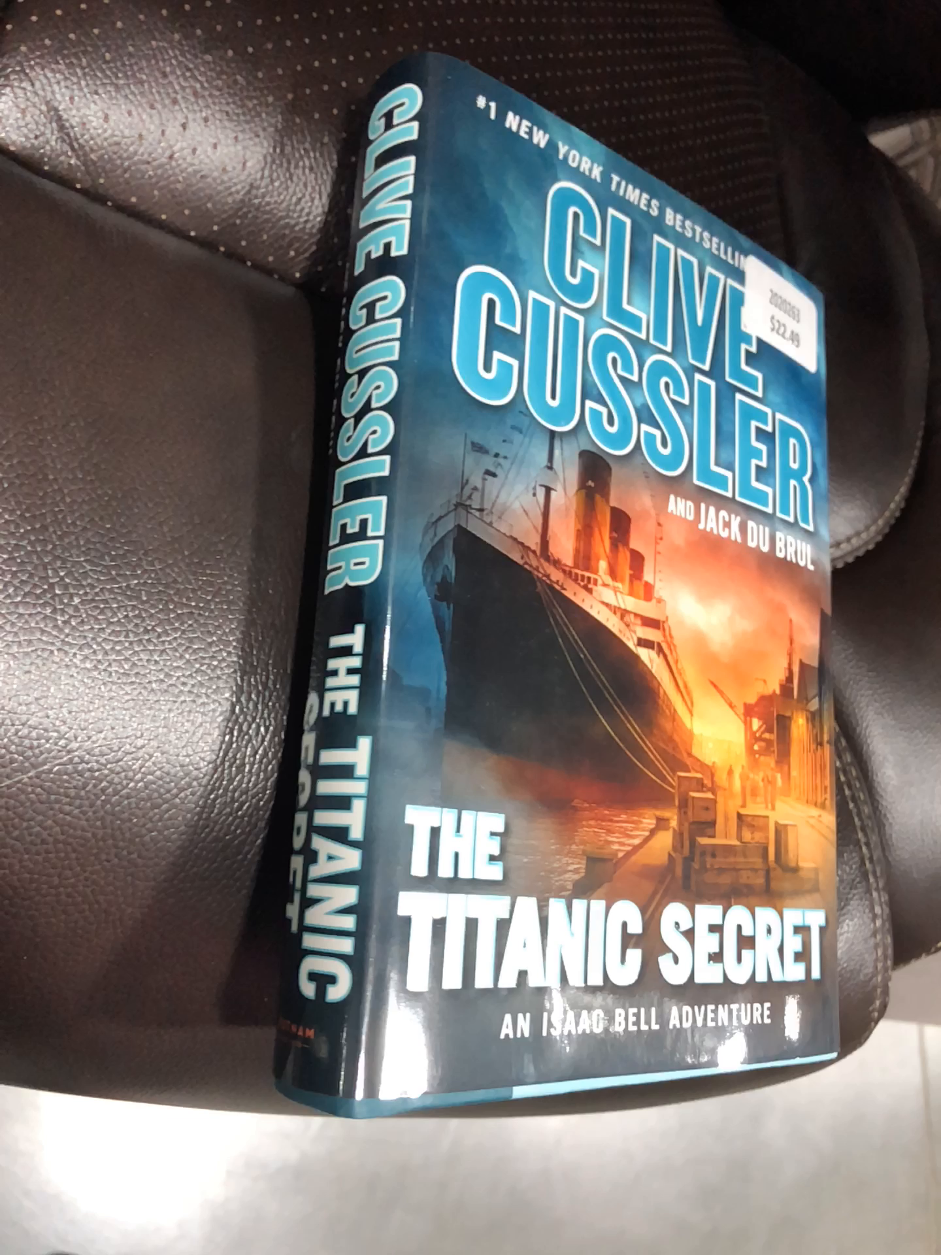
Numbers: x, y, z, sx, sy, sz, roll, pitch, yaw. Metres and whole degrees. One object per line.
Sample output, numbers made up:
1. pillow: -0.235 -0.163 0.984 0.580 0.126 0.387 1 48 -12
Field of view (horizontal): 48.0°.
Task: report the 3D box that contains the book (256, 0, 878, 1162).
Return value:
1. book: 0.041 -0.009 0.279 0.166 0.040 0.249 13 75 -36
